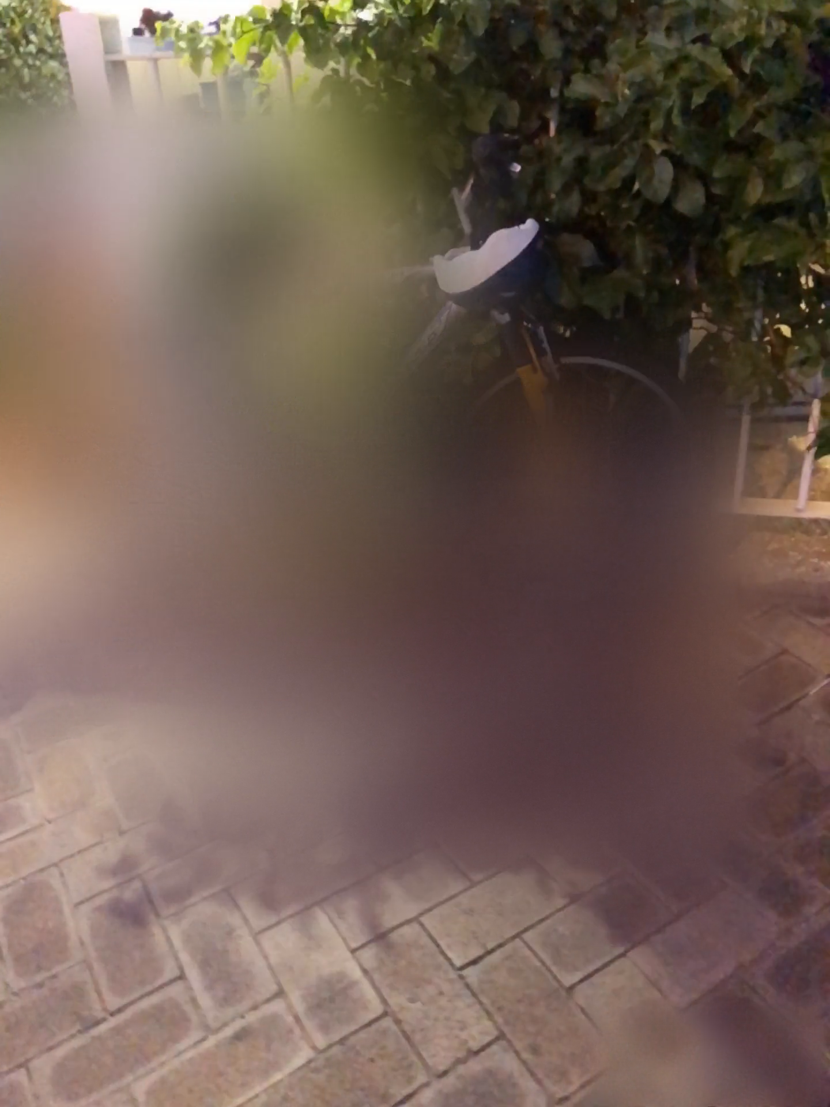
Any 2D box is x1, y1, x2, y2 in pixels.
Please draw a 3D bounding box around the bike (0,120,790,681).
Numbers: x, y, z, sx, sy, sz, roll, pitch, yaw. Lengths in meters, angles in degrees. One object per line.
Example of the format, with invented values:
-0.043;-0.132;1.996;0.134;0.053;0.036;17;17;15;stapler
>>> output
-0.163;-0.377;2.064;1.692;0.995;0.555;4;28;15;bike
